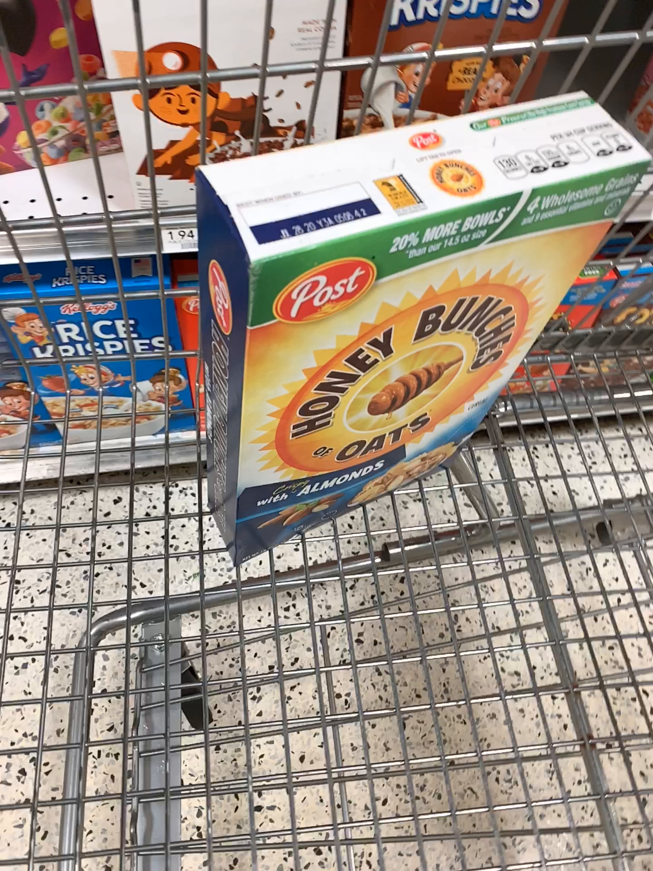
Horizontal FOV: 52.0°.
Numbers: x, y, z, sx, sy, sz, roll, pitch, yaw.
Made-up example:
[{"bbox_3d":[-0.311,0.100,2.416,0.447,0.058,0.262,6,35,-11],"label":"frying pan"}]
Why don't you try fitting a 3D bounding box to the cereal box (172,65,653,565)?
[{"bbox_3d":[0.033,-0.038,0.396,0.210,0.308,0.060,-19,66,-17],"label":"cereal box"}]
